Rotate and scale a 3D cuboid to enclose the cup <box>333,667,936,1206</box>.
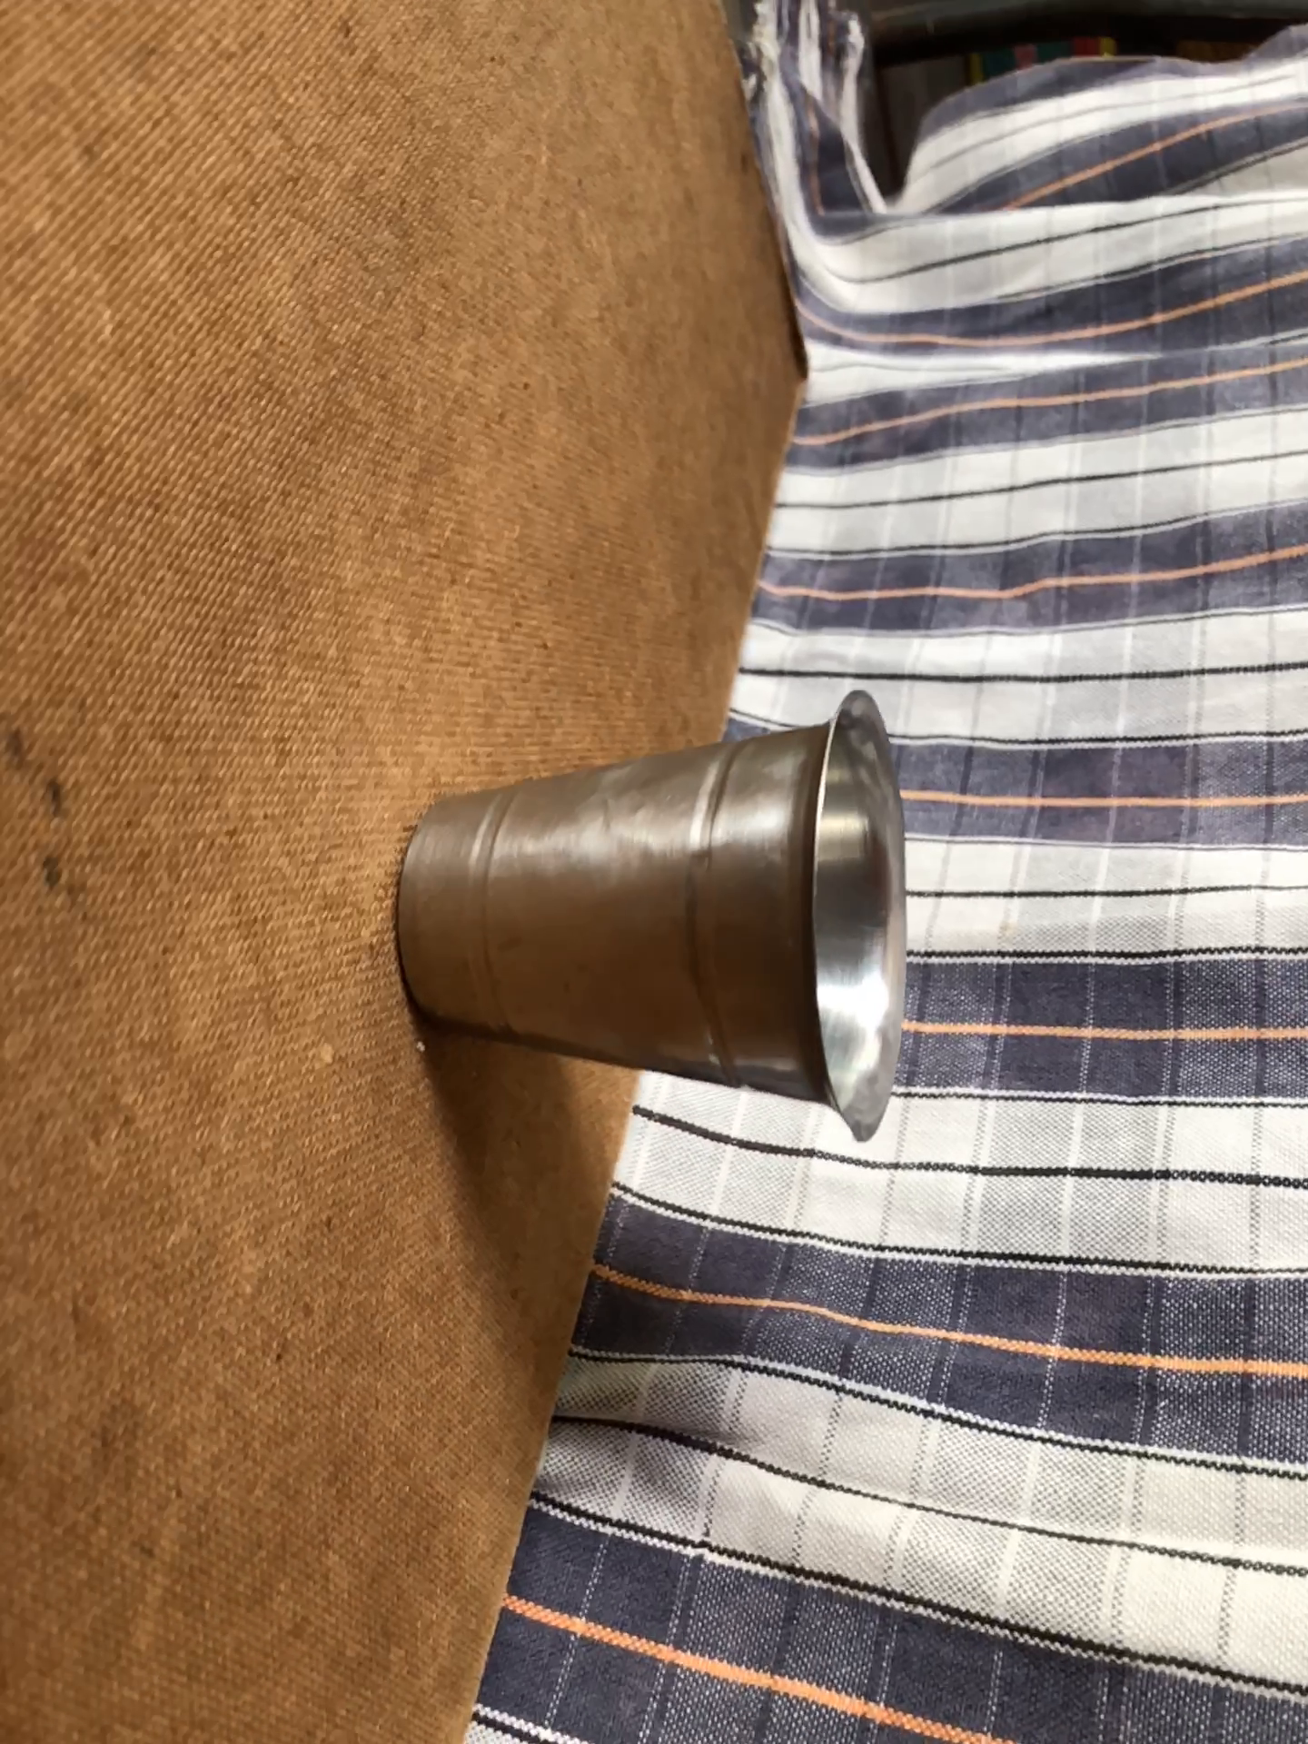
[{"bbox_3d":[0.002,0.008,0.251,0.060,0.080,0.070,-51,136,-62],"label":"cup"}]
